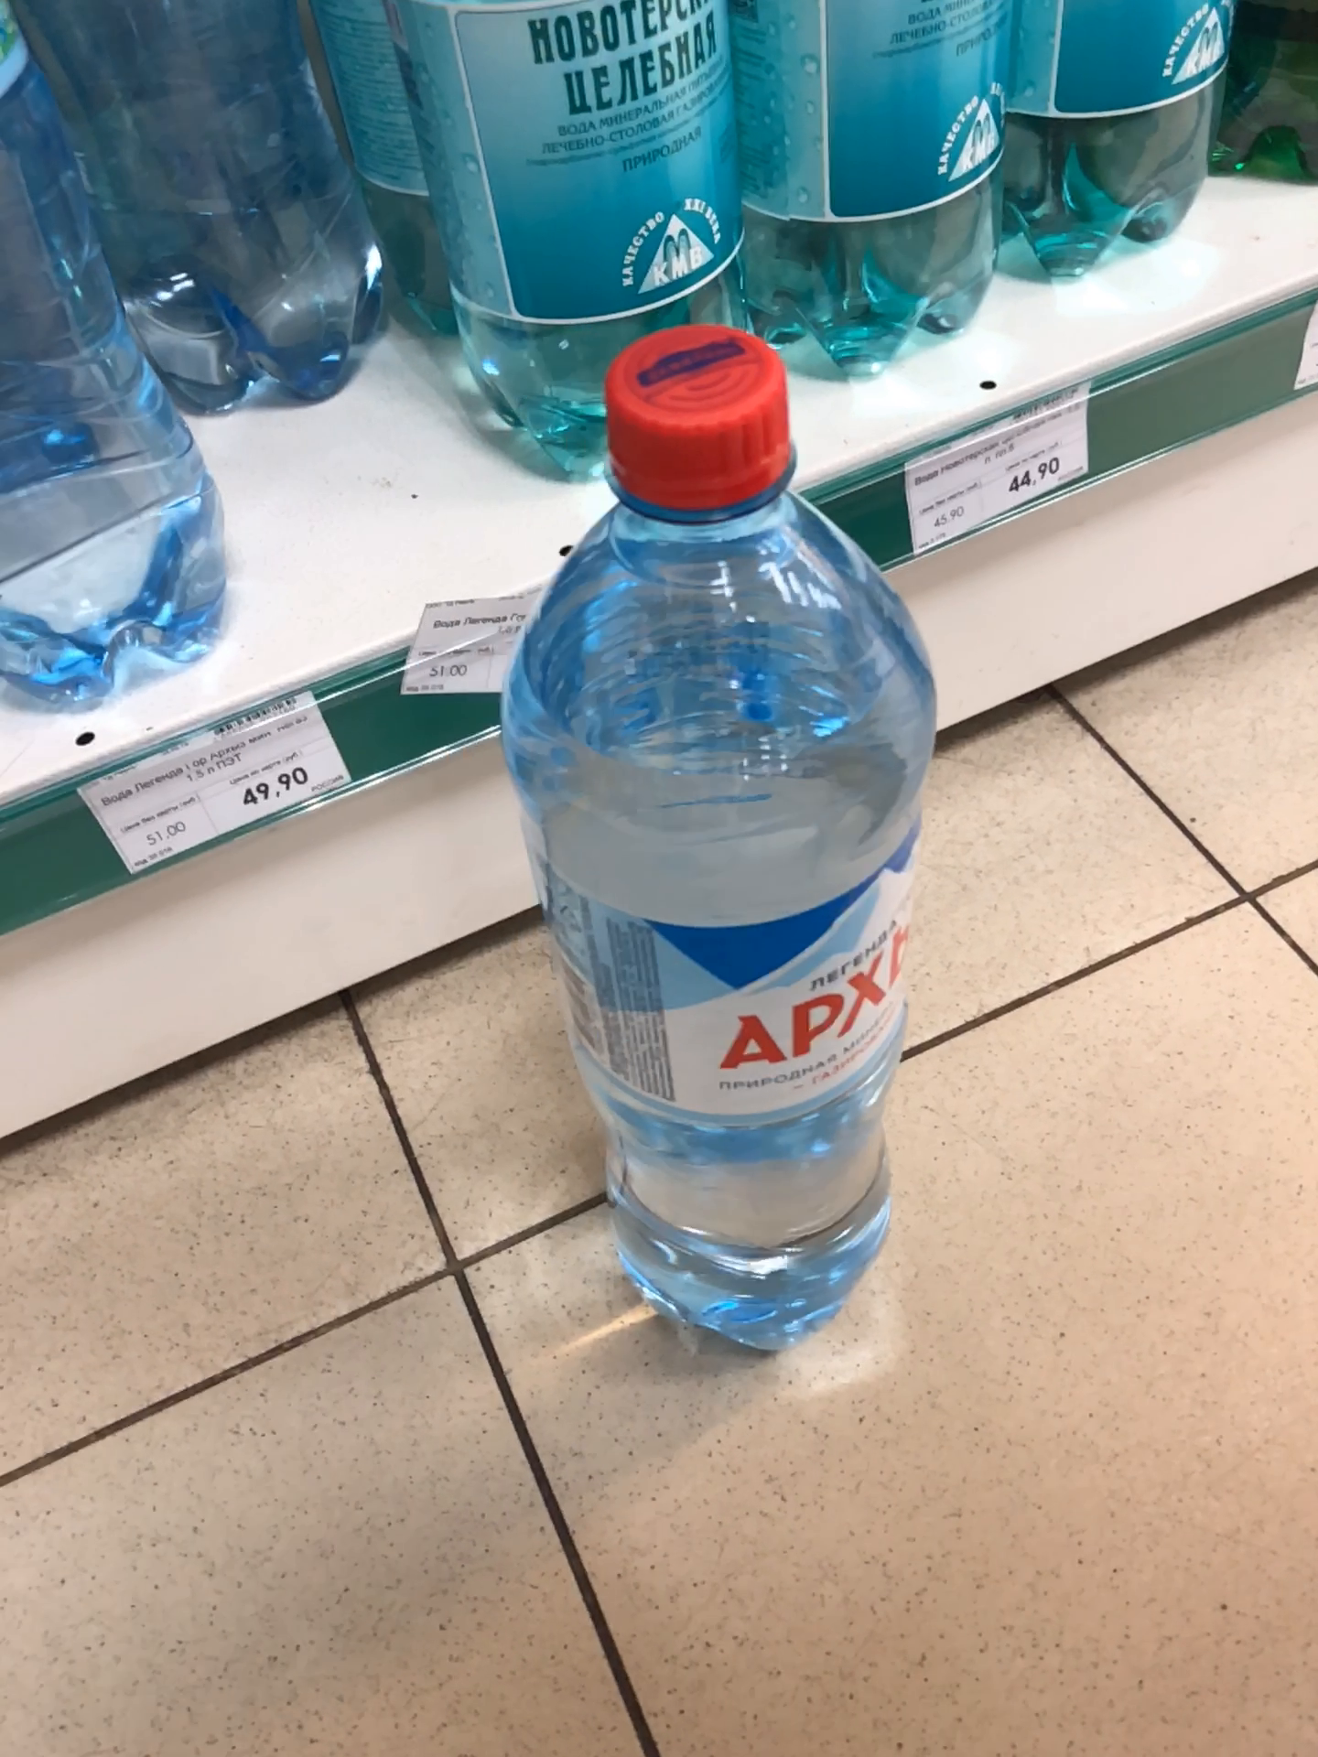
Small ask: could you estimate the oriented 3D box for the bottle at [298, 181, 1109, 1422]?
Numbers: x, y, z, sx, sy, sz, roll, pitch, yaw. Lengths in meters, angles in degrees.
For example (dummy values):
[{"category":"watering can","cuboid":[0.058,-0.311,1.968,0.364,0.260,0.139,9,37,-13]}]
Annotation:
[{"category":"bottle","cuboid":[0.019,0.017,0.345,0.085,0.306,0.094,-3,52,4]}]
